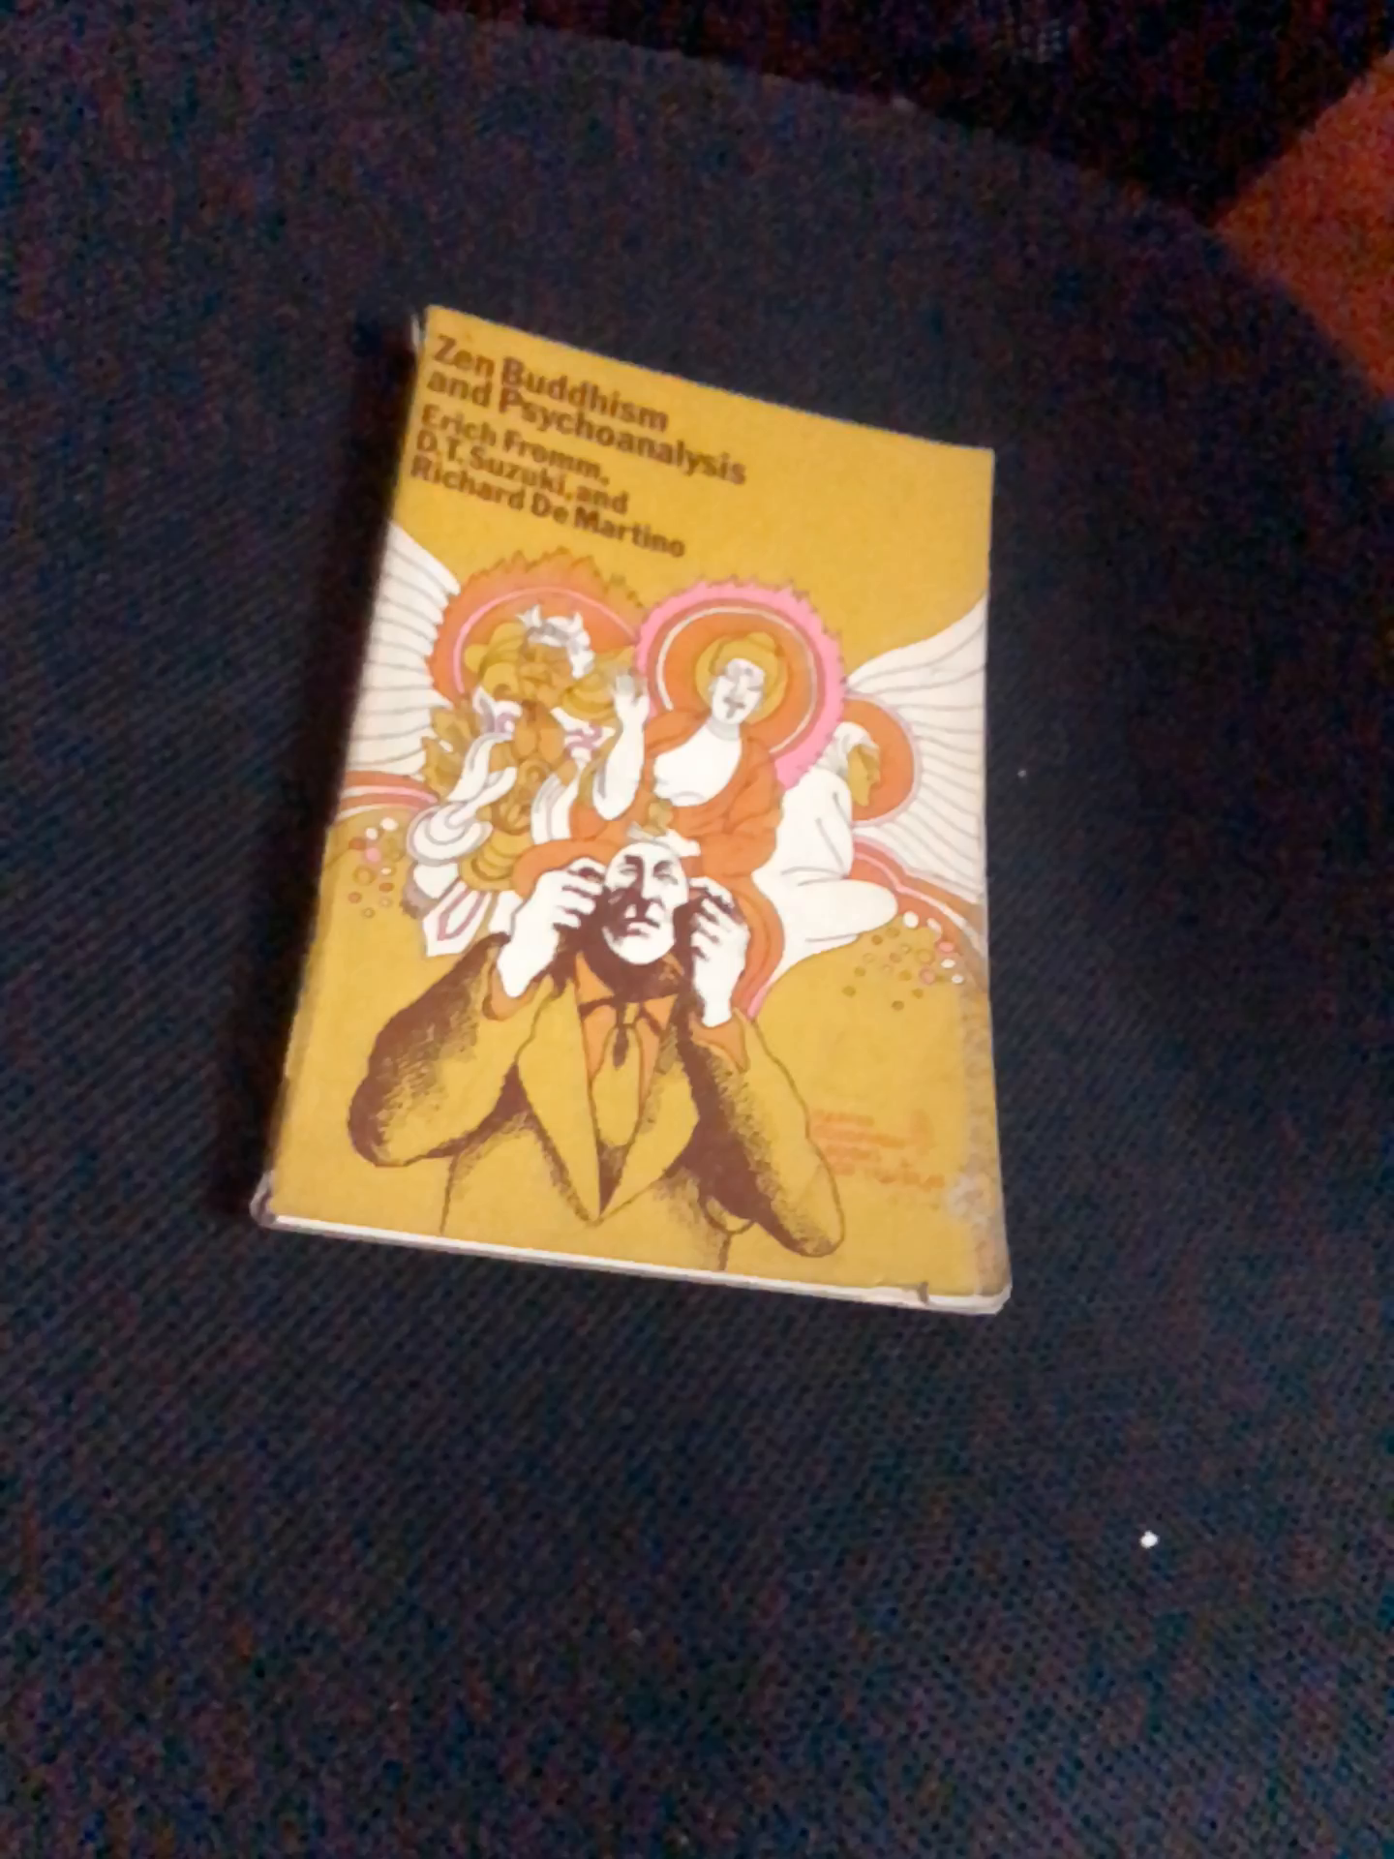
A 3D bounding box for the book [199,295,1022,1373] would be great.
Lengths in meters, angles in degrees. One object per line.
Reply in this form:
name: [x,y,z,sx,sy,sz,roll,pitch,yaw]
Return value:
book: [-0.011,-0.022,0.298,0.137,0.020,0.200,7,66,-16]
